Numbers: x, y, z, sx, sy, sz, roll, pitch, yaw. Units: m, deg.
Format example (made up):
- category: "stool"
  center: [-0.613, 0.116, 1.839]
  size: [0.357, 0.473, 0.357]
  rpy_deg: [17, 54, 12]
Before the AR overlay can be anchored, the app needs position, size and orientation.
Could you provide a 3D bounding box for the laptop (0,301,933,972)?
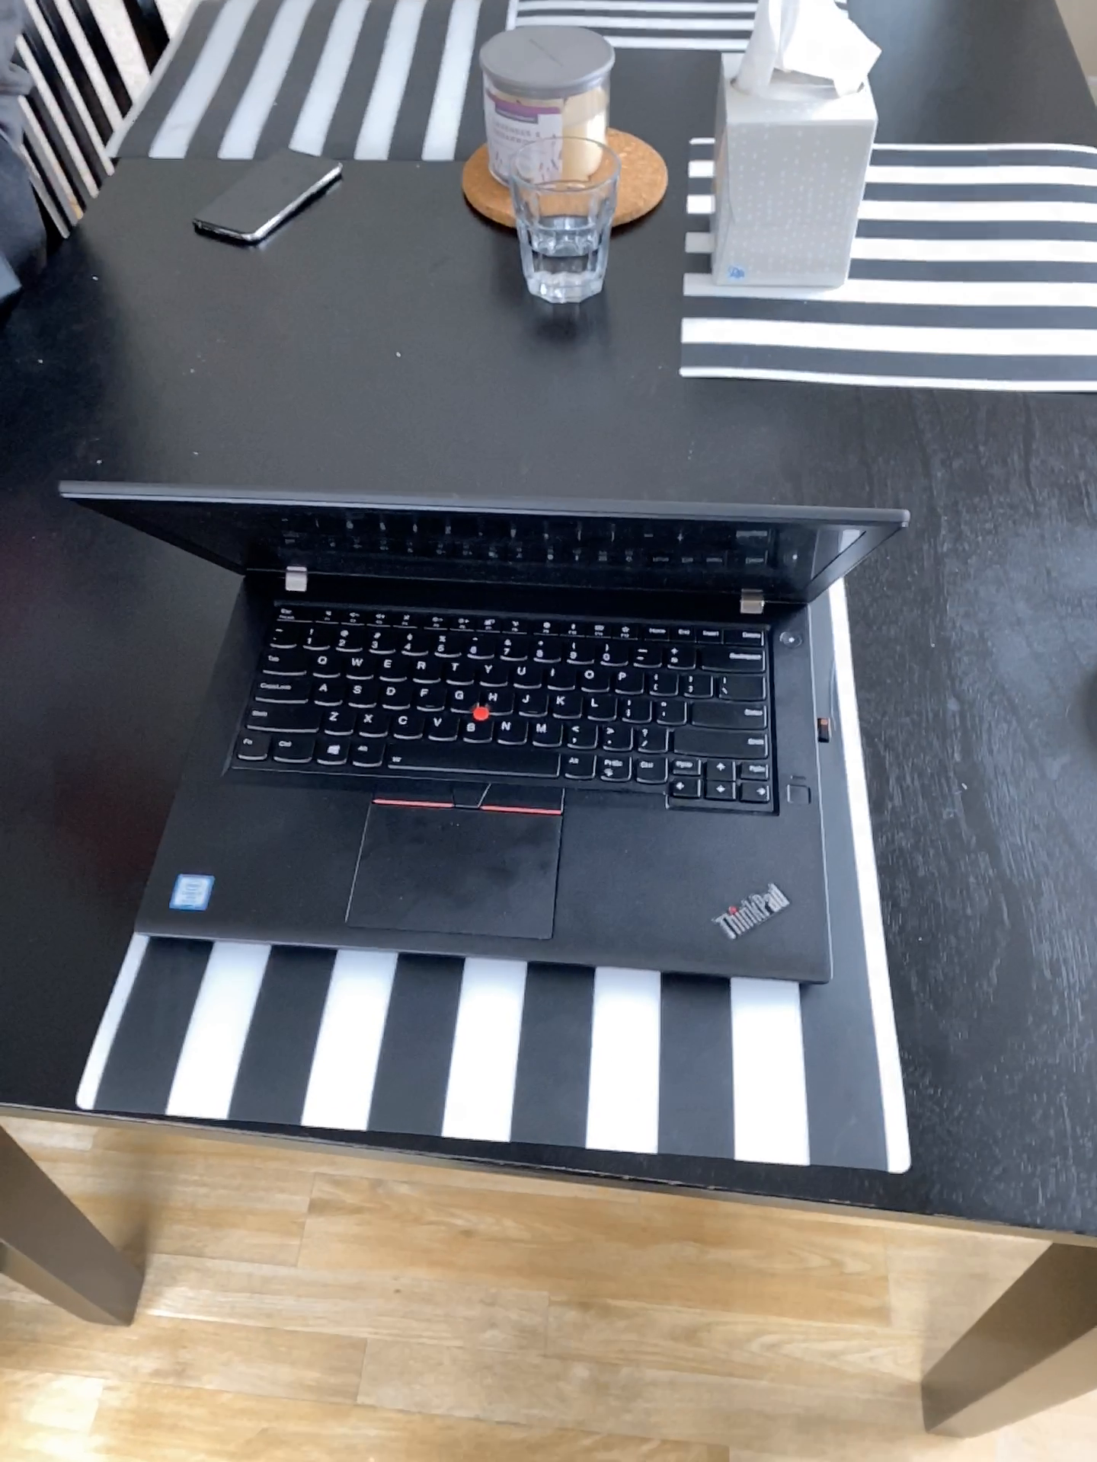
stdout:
- category: "laptop"
  center: [-0.026, -0.045, 0.503]
  size: [0.320, 0.175, 0.221]
  rpy_deg: [3, 53, 4]
